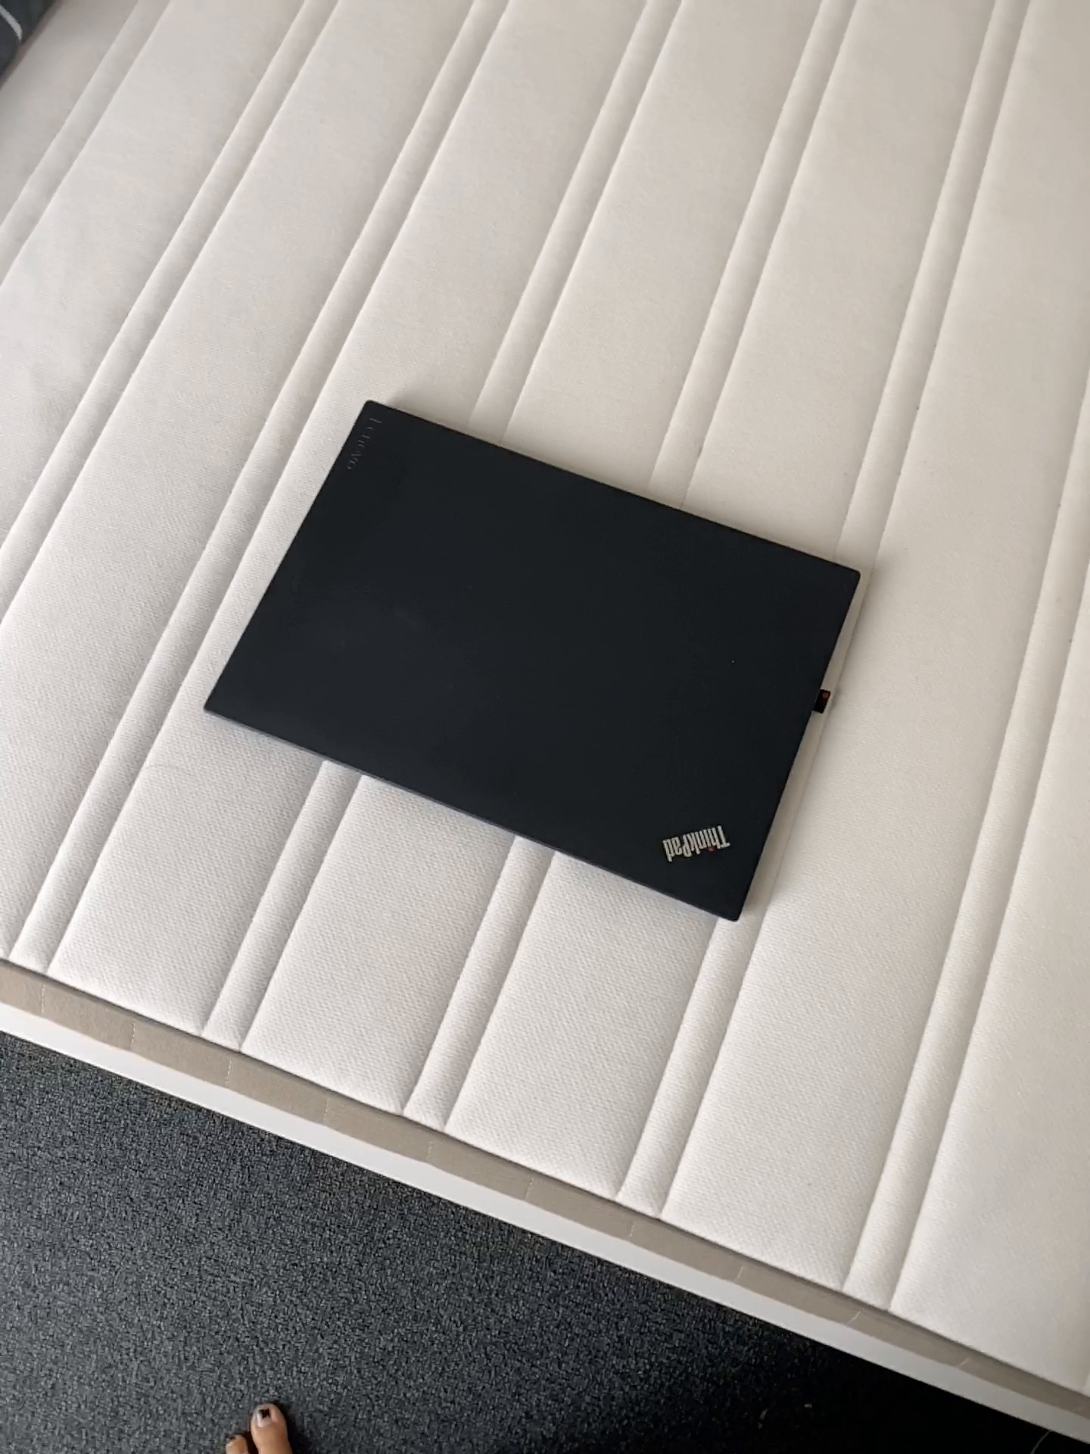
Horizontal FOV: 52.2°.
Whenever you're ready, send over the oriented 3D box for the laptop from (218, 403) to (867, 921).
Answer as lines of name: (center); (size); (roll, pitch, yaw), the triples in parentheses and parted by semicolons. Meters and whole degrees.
laptop: (0.000, -0.043, 0.585); (0.288, 0.005, 0.193); (21, 76, 7)
